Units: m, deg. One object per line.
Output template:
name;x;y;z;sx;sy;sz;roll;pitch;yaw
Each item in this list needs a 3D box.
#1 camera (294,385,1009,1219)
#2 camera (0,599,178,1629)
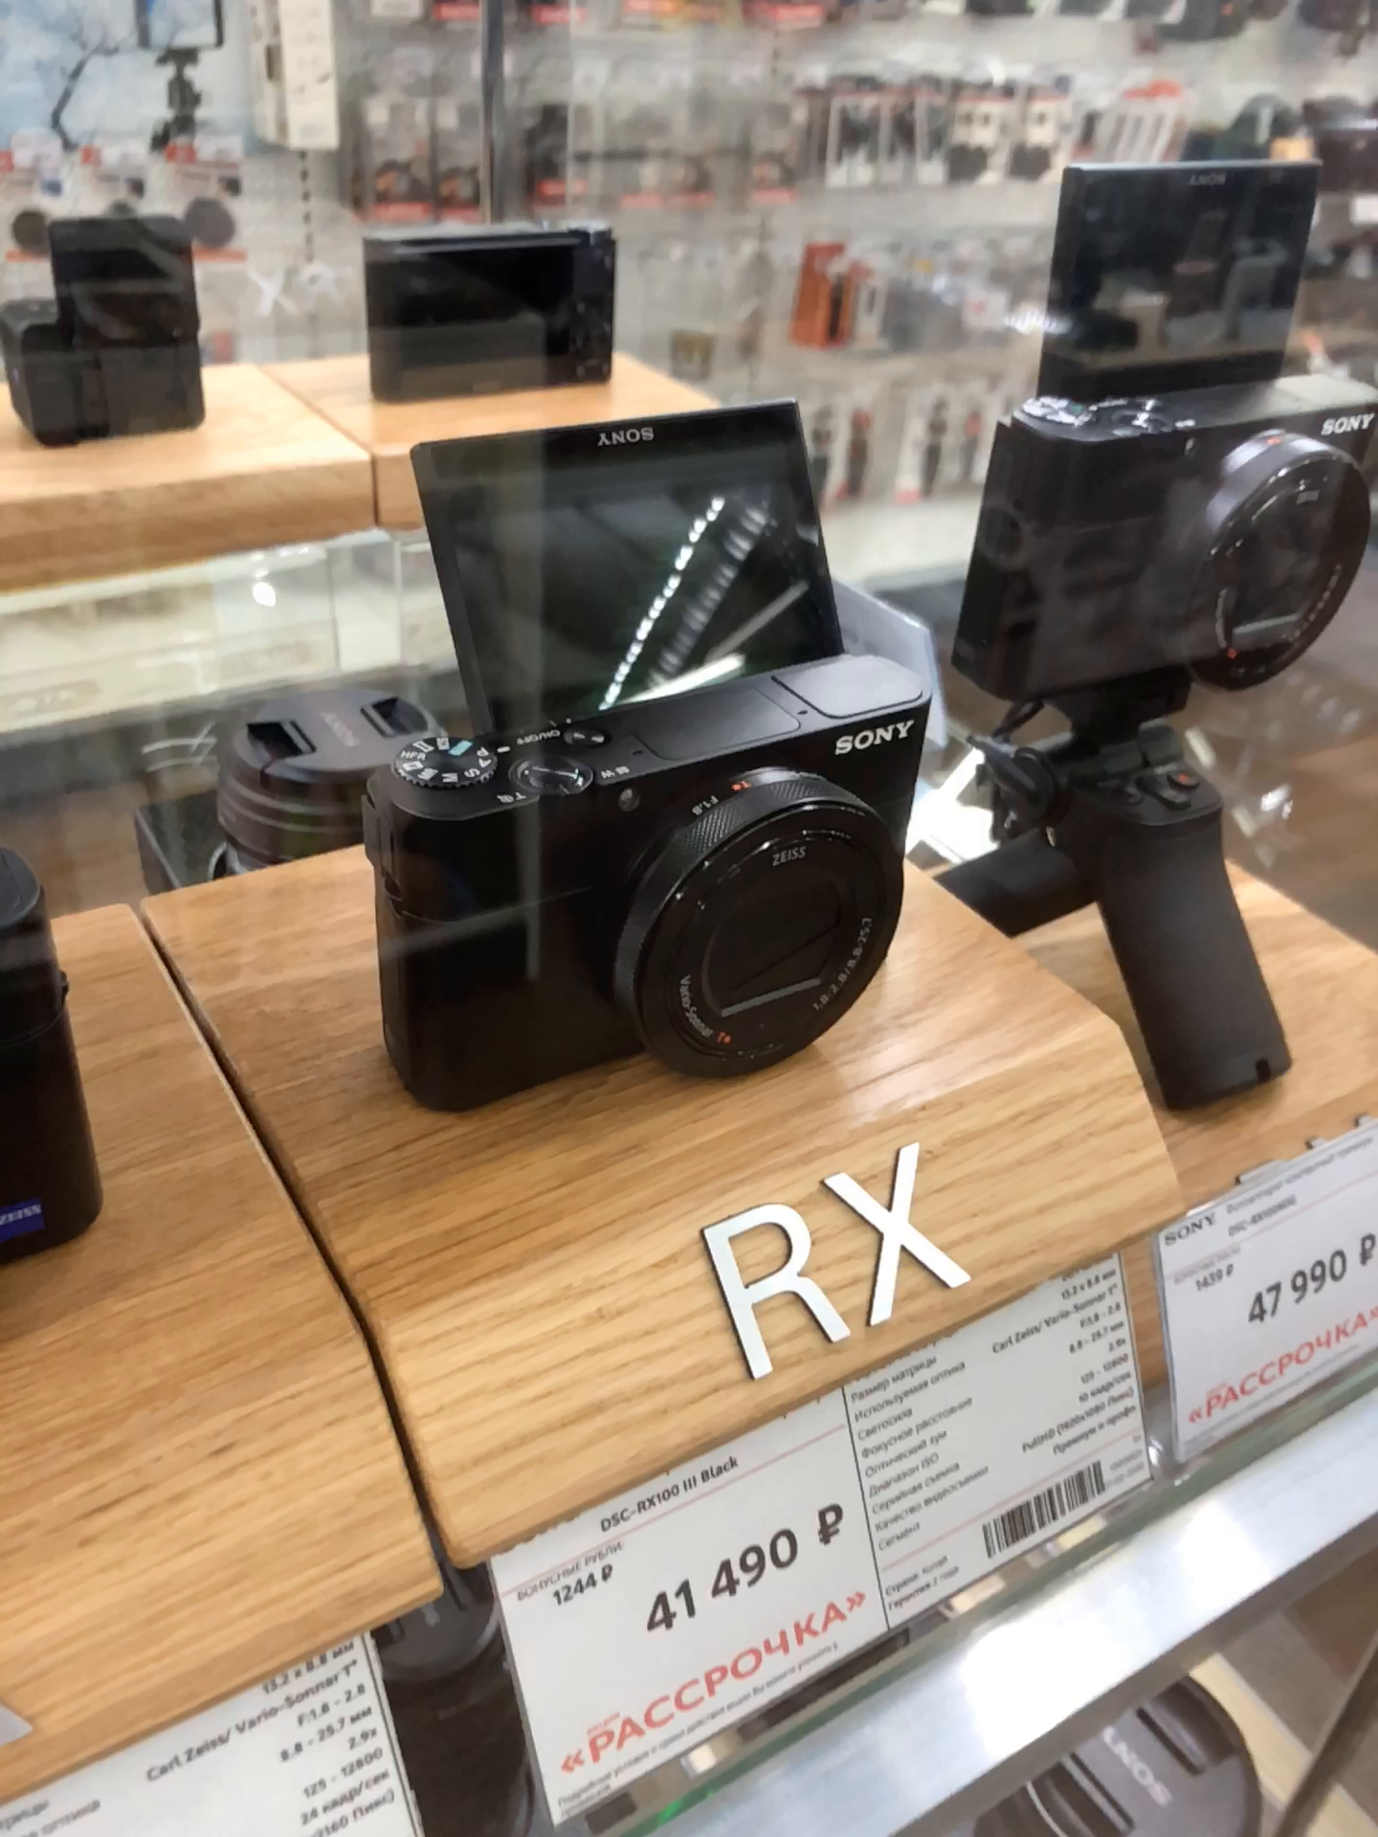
camera;-0.008;-0.023;0.272;0.100;0.119;0.050;-16;38;-28
camera;-0.138;0.013;0.207;0.101;0.067;0.097;-16;38;-28
